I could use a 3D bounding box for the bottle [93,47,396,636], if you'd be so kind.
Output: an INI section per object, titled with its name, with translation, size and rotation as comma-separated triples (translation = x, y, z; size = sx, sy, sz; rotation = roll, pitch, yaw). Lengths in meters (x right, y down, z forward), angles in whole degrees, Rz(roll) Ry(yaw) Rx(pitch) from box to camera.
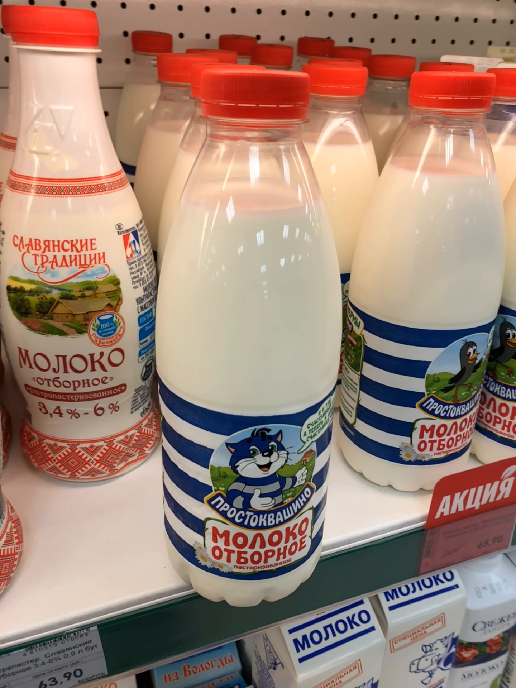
[bottle]
translation = -0.010, 0.003, 0.248
size = 0.090, 0.228, 0.080
rotation = -4, 23, -10
